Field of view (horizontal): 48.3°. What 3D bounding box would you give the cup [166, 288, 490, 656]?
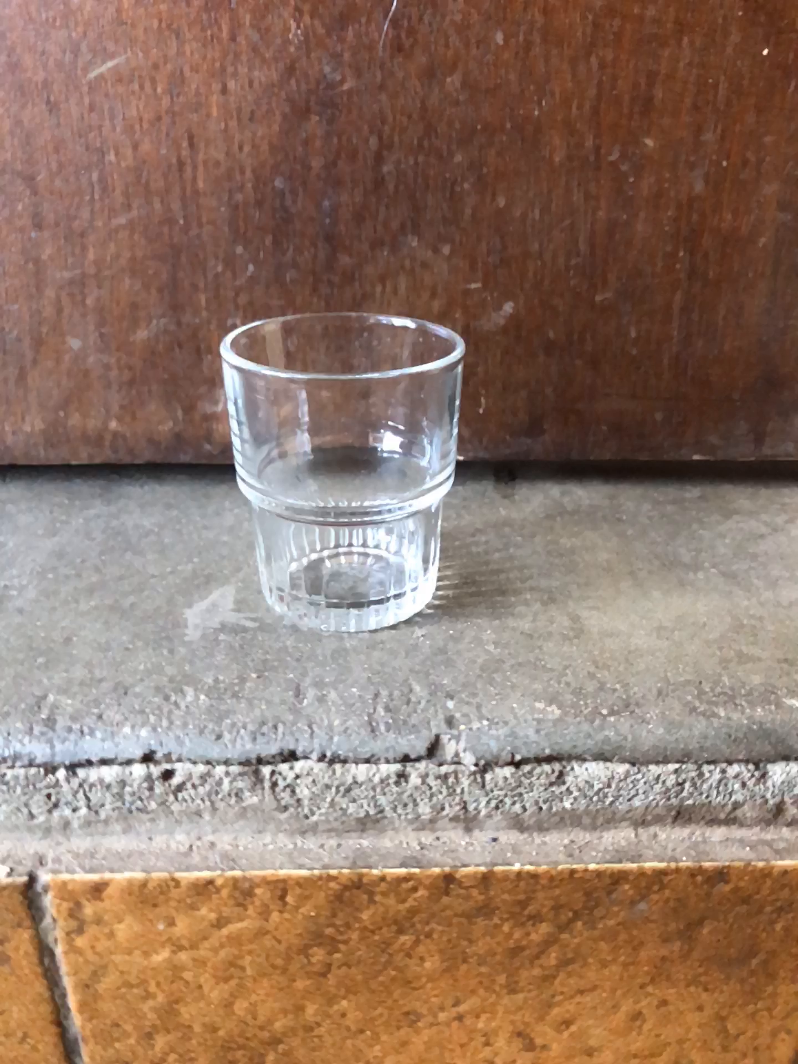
[{"bbox_3d":[-0.015,-0.022,0.259,0.070,0.080,0.070,0,26,0],"label":"cup"}]
